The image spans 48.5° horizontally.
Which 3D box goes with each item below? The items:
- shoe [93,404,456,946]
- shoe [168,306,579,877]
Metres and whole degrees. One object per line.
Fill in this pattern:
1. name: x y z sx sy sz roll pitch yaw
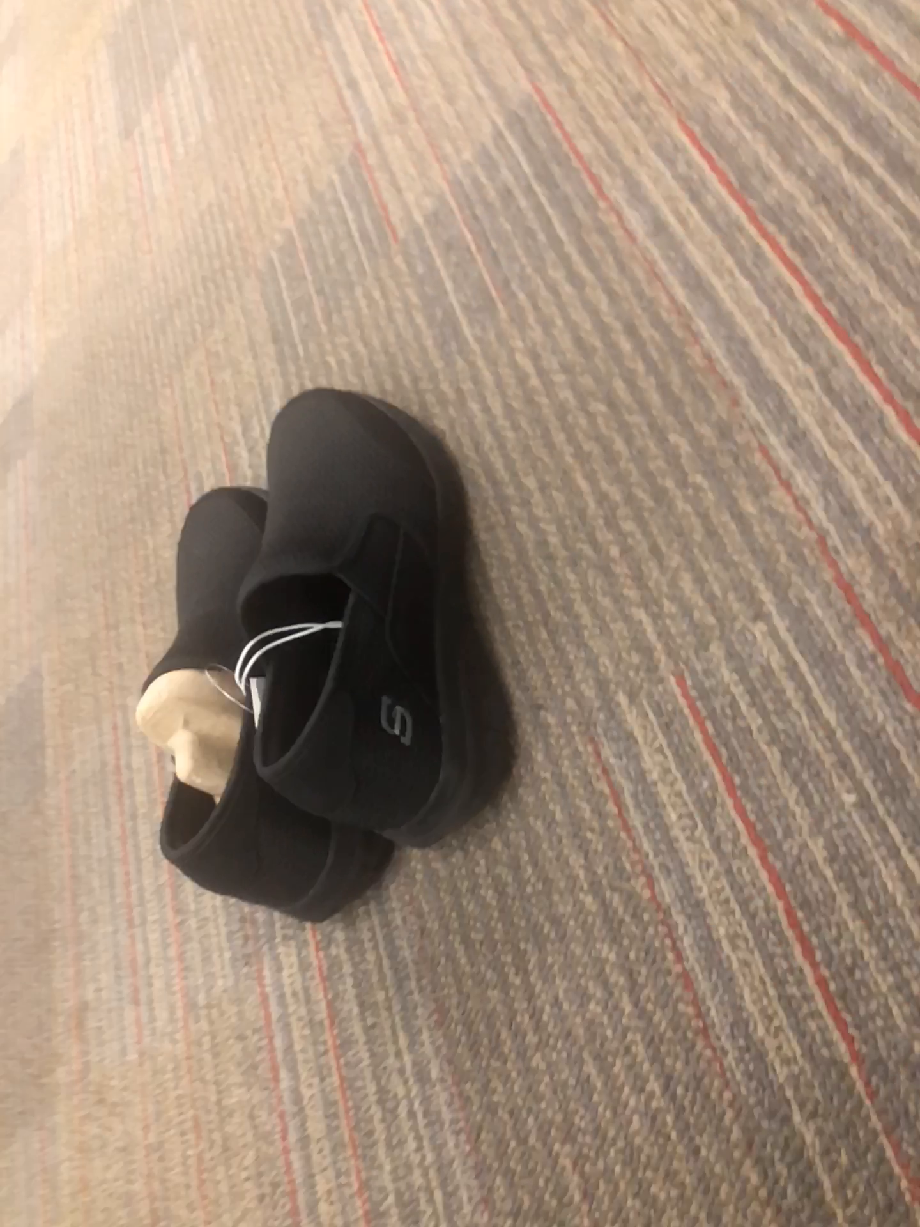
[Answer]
1. shoe: -0.113 0.031 0.555 0.117 0.105 0.258 -41 49 28
2. shoe: -0.056 -0.012 0.519 0.121 0.109 0.248 -40 50 29
